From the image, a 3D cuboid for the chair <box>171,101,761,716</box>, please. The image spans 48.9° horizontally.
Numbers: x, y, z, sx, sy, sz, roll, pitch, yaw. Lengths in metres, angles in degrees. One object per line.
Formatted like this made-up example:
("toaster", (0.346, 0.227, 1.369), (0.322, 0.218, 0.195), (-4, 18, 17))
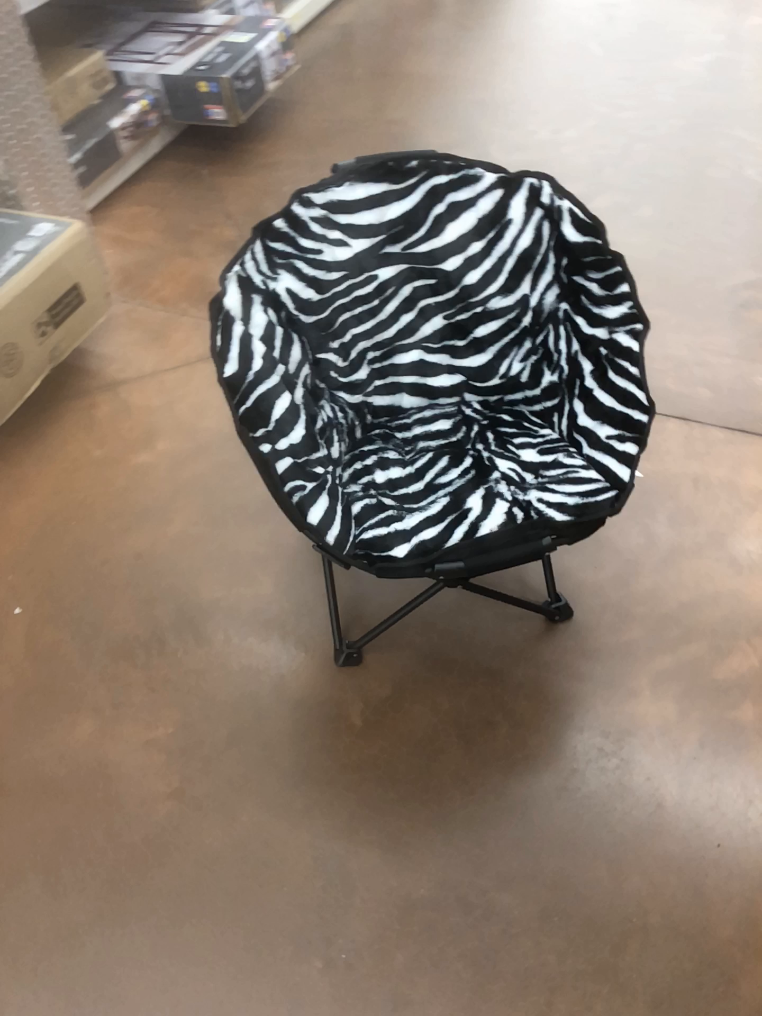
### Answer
("chair", (0.066, -0.159, 1.286), (0.610, 0.598, 0.602), (-11, 48, -6))
